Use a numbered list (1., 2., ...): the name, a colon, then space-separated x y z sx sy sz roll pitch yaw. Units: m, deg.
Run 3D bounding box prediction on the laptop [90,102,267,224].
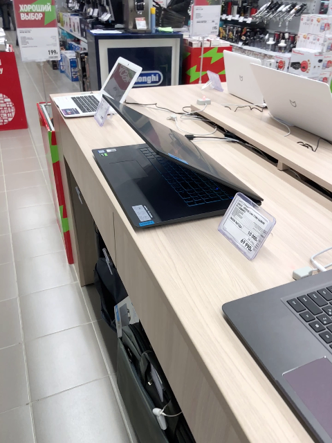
1. laptop: -0.002 -0.166 0.859 0.271 0.129 0.391 -10 31 -17
